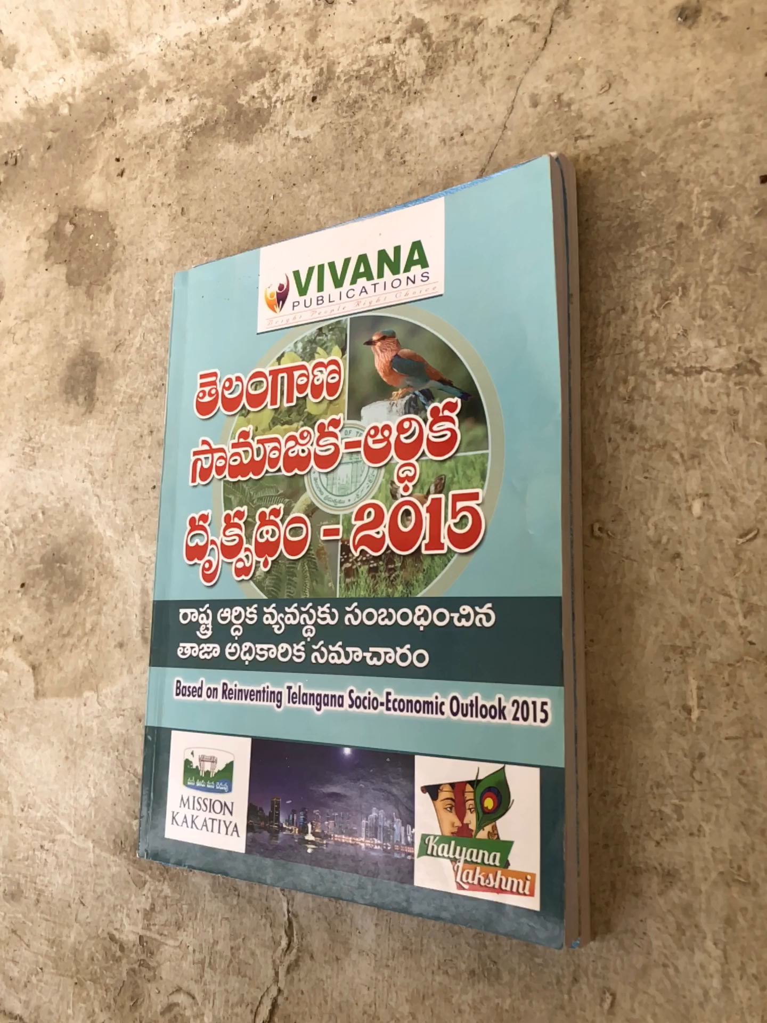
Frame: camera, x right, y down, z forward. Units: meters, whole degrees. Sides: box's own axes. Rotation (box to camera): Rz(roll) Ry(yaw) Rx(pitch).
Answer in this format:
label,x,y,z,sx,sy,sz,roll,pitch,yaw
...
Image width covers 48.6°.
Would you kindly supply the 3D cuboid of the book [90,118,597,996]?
label,x,y,z,sx,sy,sz,roll,pitch,yaw
book,-0.022,0.011,0.325,0.201,0.030,0.270,-4,80,32
